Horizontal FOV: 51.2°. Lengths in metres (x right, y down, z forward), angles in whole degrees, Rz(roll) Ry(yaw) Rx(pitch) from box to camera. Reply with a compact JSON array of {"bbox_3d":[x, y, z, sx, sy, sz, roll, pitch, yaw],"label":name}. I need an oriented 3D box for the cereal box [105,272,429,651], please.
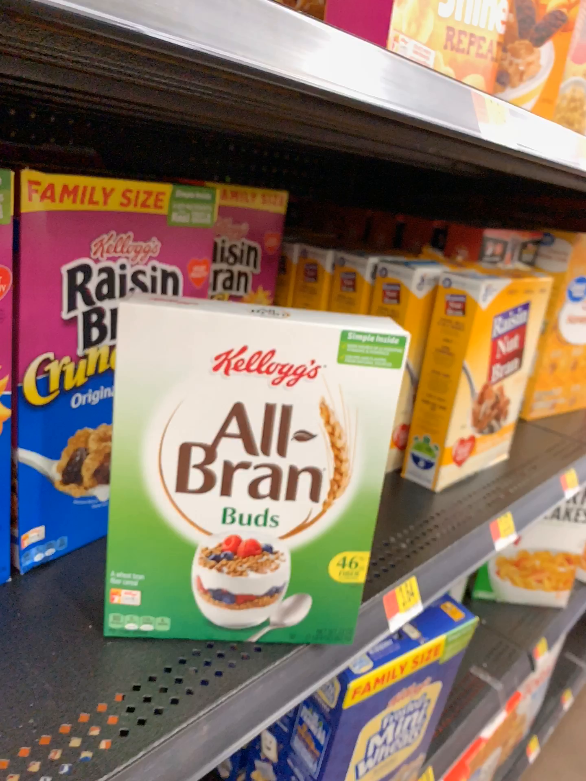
[{"bbox_3d":[-0.026,0.059,0.439,0.190,0.259,0.050,5,17,-8],"label":"cereal box"}]
